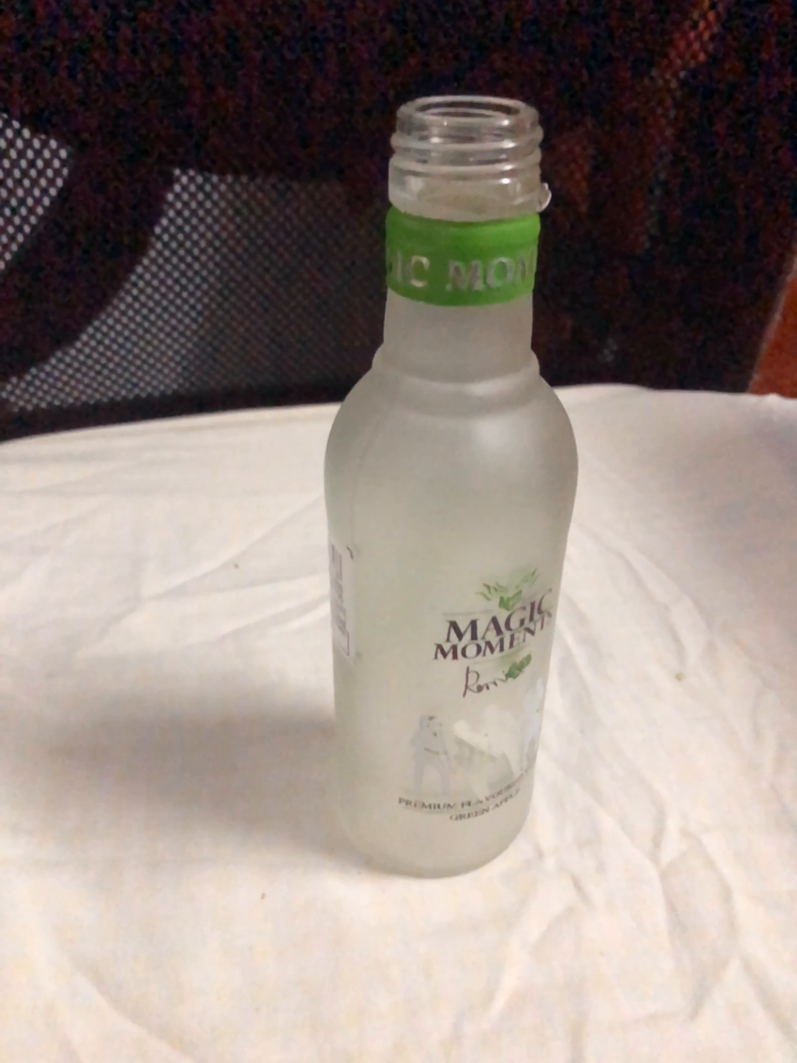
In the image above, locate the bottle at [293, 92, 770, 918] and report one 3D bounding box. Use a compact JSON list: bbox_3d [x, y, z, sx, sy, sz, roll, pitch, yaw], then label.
[{"bbox_3d":[0.016,0.003,0.193,0.060,0.169,0.050,-12,38,-20],"label":"bottle"}]
